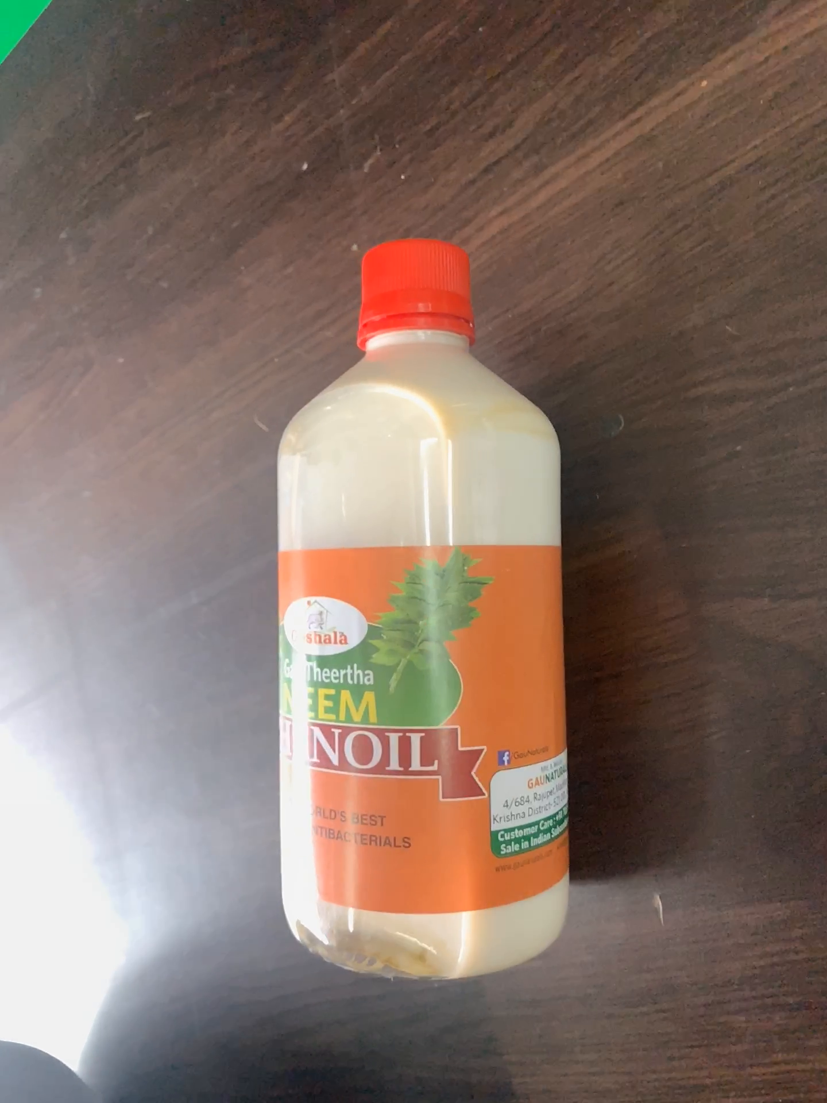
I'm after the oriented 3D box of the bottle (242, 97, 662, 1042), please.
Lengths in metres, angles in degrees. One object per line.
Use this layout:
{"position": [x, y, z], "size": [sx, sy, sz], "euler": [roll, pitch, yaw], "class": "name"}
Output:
{"position": [0.012, 0.004, 0.225], "size": [0.080, 0.070, 0.190], "euler": [-1, 90, 34], "class": "bottle"}
